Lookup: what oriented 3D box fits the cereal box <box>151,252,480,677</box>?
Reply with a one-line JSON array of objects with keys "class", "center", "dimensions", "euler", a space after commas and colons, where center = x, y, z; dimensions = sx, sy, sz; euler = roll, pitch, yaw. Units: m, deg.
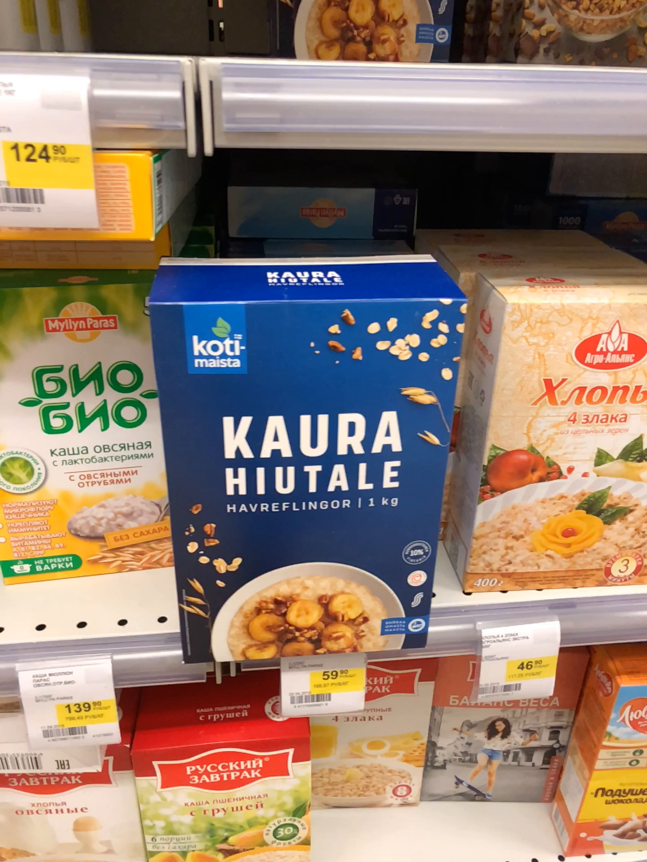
[{"class": "cereal box", "center": [-0.009, 0.022, 0.410], "dimensions": [0.150, 0.229, 0.080], "euler": [-2, 28, -7]}]
